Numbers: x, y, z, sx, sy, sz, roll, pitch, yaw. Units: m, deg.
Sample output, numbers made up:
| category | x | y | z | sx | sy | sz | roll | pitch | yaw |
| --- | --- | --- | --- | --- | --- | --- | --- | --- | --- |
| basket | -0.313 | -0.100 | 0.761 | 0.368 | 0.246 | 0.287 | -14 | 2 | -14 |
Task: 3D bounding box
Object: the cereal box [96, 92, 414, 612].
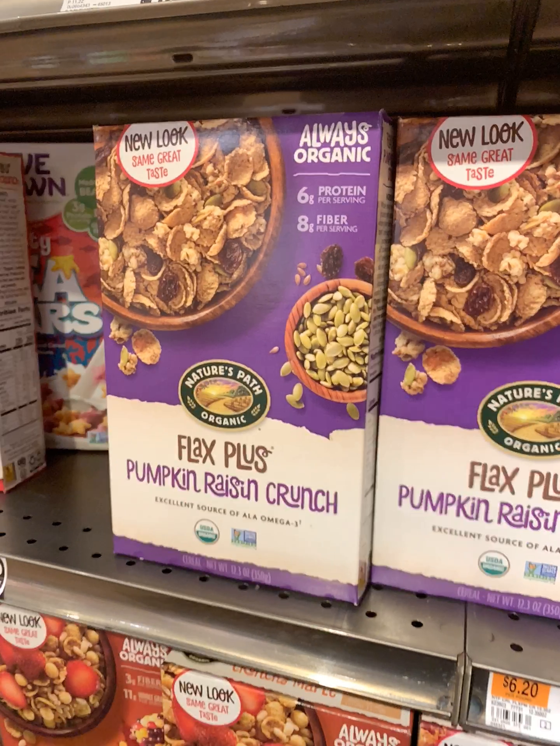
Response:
| category | x | y | z | sx | sy | sz | roll | pitch | yaw |
| --- | --- | --- | --- | --- | --- | --- | --- | --- | --- |
| cereal box | -0.019 | -0.012 | 0.348 | 0.170 | 0.269 | 0.050 | 5 | 12 | 19 |
